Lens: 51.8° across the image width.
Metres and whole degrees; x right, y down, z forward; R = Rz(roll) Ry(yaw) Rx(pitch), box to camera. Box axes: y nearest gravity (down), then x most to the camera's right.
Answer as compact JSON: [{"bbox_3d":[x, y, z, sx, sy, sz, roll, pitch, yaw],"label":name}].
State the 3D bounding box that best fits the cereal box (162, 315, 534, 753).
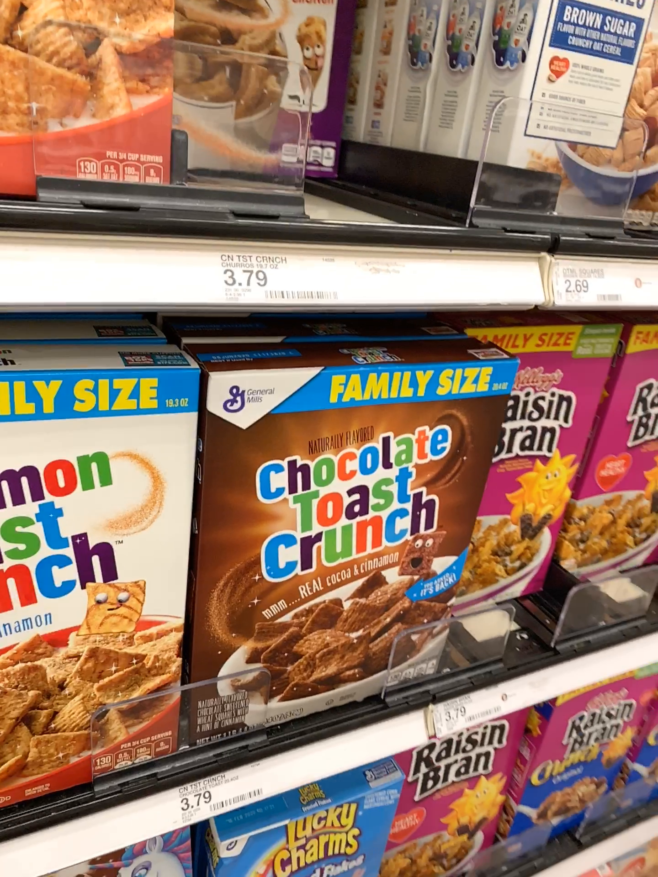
[{"bbox_3d":[0.004,0.068,0.510,0.240,0.308,0.060,-6,29,-27],"label":"cereal box"}]
